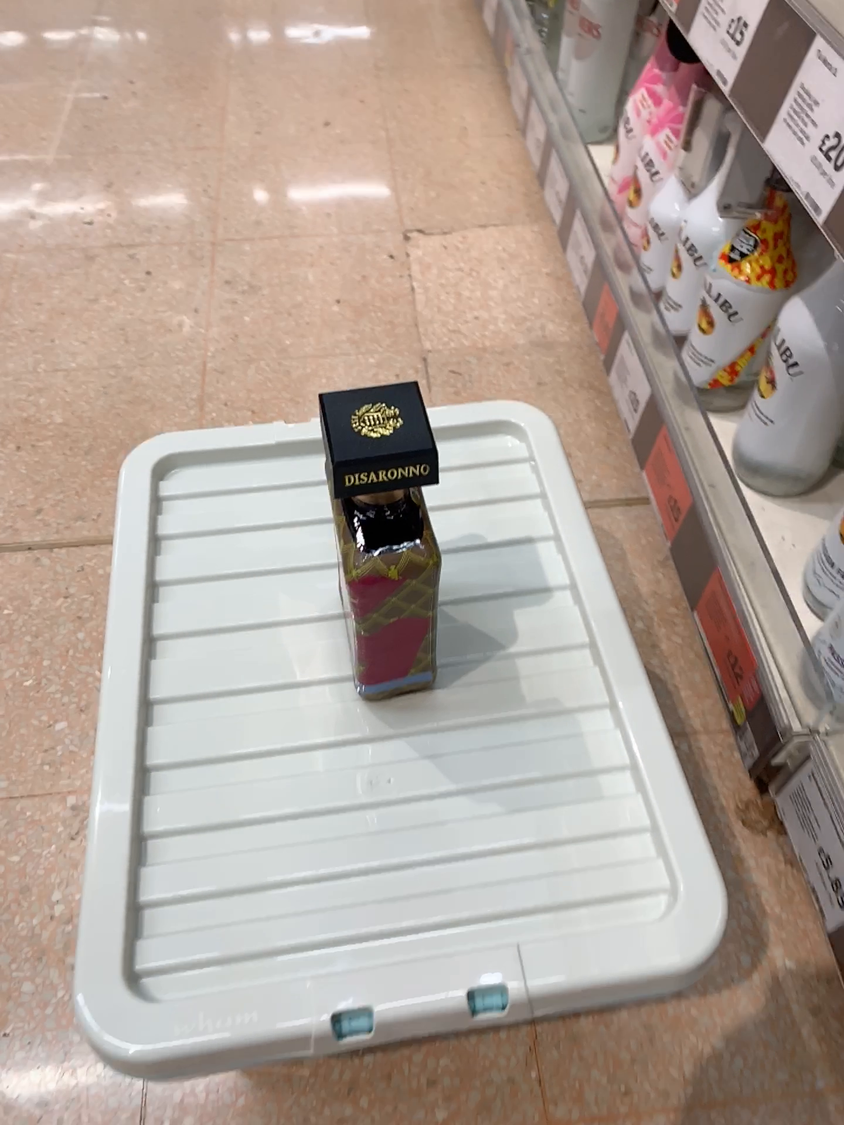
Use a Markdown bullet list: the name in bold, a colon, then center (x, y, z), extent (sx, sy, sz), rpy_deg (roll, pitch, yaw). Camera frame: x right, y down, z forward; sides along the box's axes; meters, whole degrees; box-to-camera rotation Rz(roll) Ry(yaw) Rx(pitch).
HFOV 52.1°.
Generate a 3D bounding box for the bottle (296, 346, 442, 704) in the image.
- **bottle**: center (-0.029, -0.013, 0.510), extent (0.060, 0.198, 0.101), rpy_deg (-8, 52, -6)
